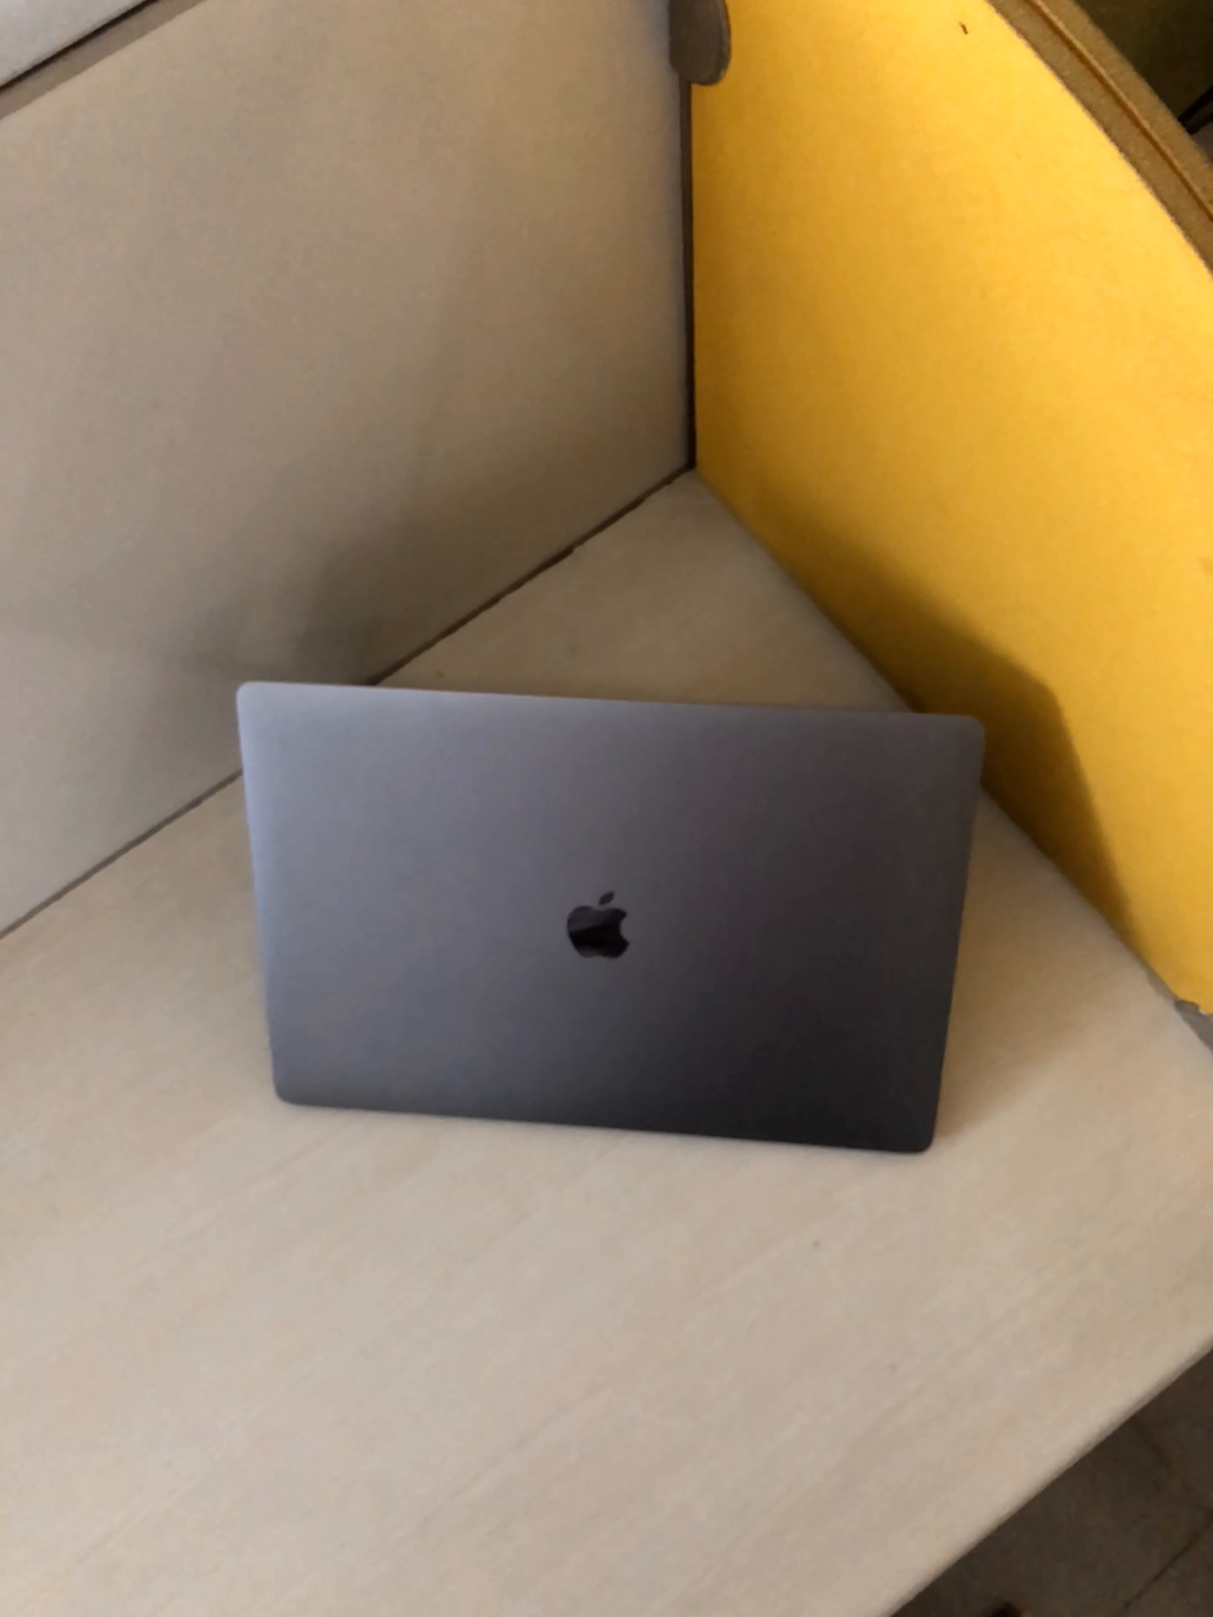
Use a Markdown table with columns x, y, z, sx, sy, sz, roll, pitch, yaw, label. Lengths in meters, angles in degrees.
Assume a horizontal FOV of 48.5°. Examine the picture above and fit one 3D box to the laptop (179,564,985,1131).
| x | y | z | sx | sy | sz | roll | pitch | yaw | label |
| --- | --- | --- | --- | --- | --- | --- | --- | --- | --- |
| 0.000 | 0.025 | 0.680 | 0.344 | 0.152 | 0.236 | 3 | 73 | 4 | laptop |
